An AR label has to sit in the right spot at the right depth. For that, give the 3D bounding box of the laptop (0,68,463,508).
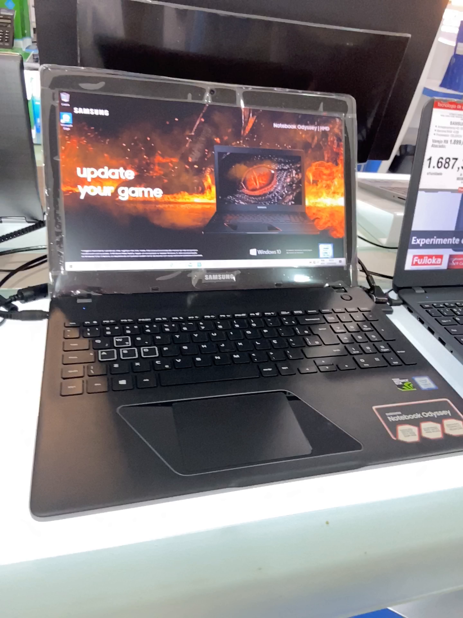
[{"bbox_3d":[0.013,-0.073,0.457,0.374,0.202,0.393,-2,34,-16],"label":"laptop"}]
